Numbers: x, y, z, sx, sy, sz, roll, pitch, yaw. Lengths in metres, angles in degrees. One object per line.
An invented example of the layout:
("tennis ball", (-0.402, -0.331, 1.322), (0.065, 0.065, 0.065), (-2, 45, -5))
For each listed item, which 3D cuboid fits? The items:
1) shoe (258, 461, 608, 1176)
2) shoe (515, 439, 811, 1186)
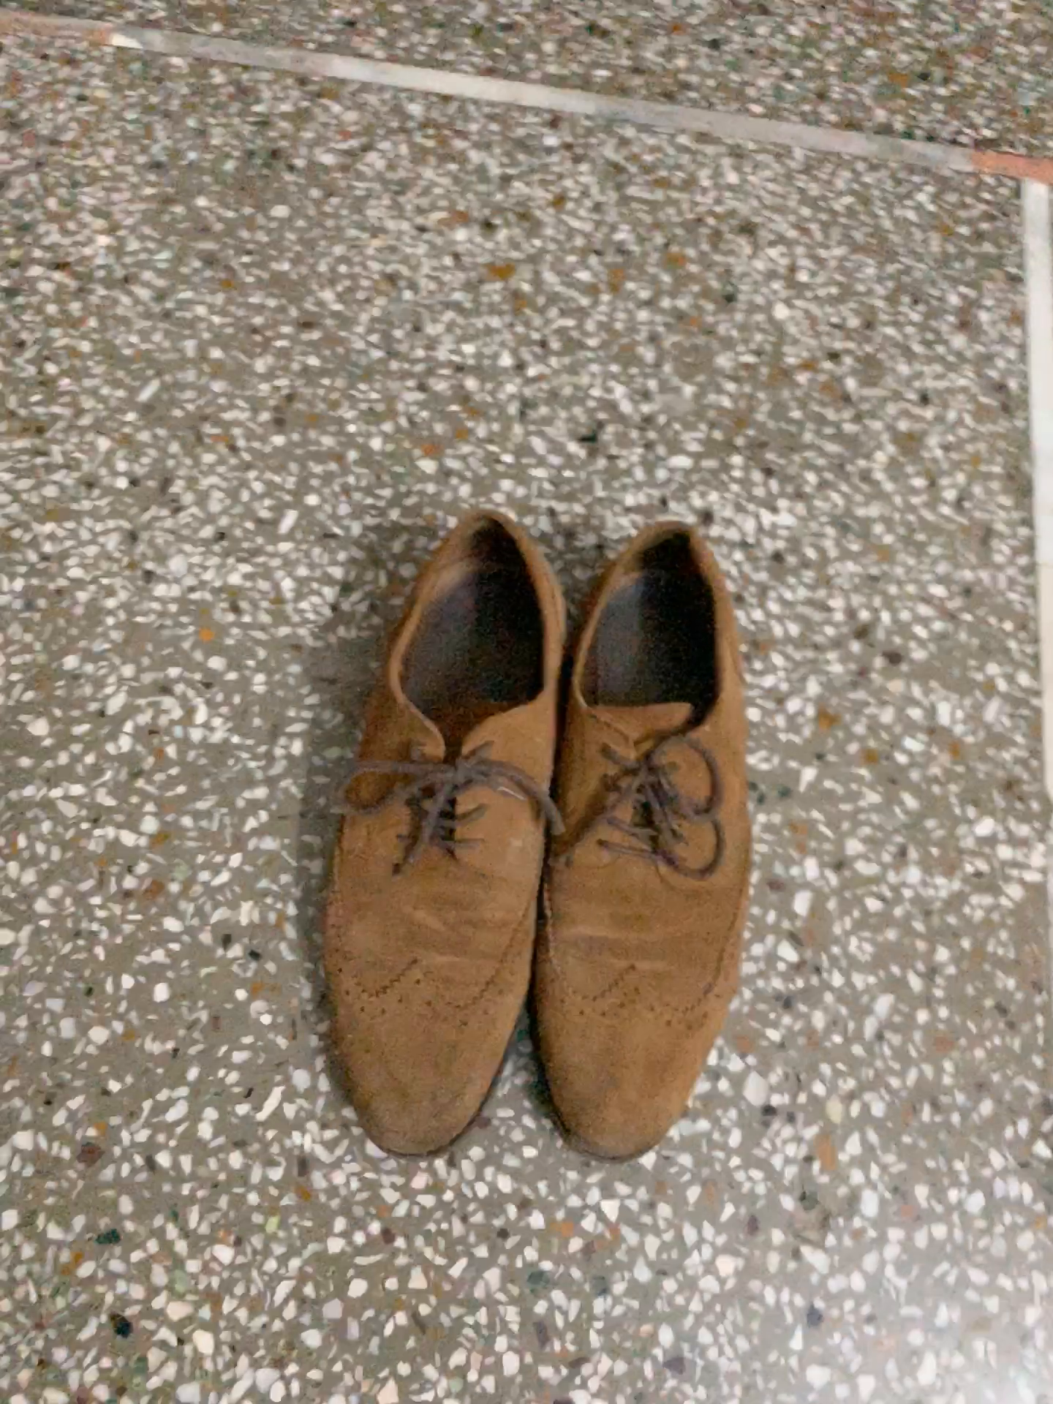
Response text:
("shoe", (-0.035, 0.052, 0.528), (0.100, 0.110, 0.309), (9, 70, 1))
("shoe", (0.064, 0.047, 0.504), (0.100, 0.110, 0.309), (7, 70, 0))
